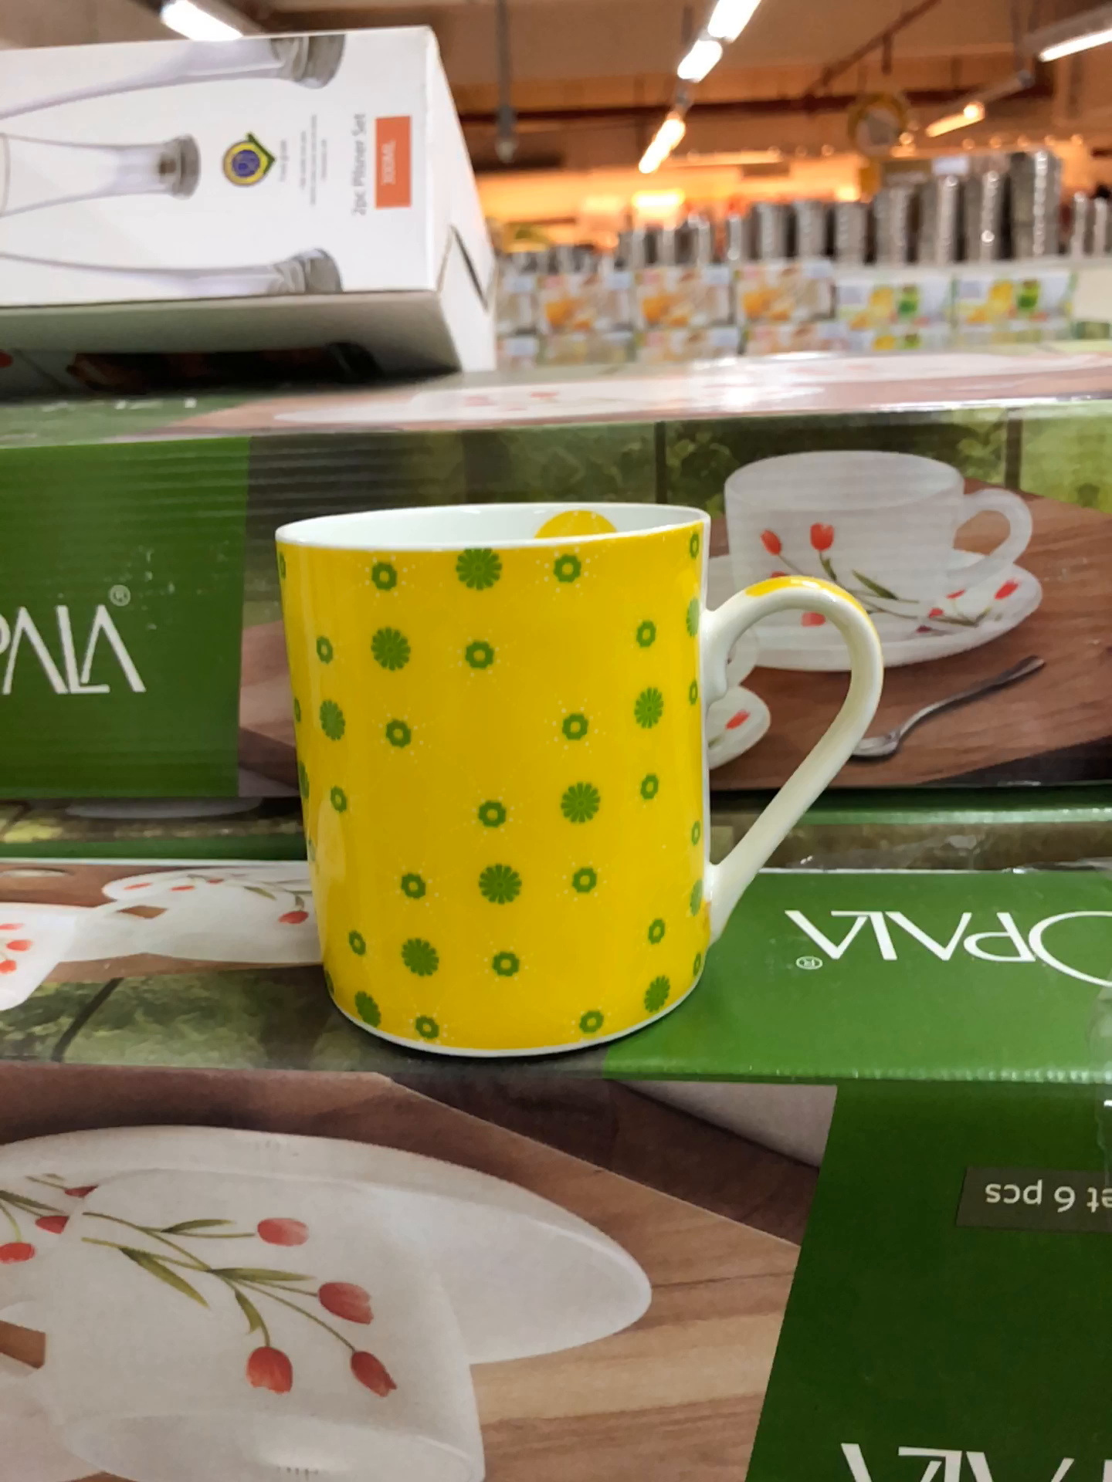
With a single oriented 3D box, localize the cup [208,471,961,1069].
[{"bbox_3d":[0.008,-0.001,0.230,0.110,0.090,0.080,-1,14,5],"label":"cup"}]
